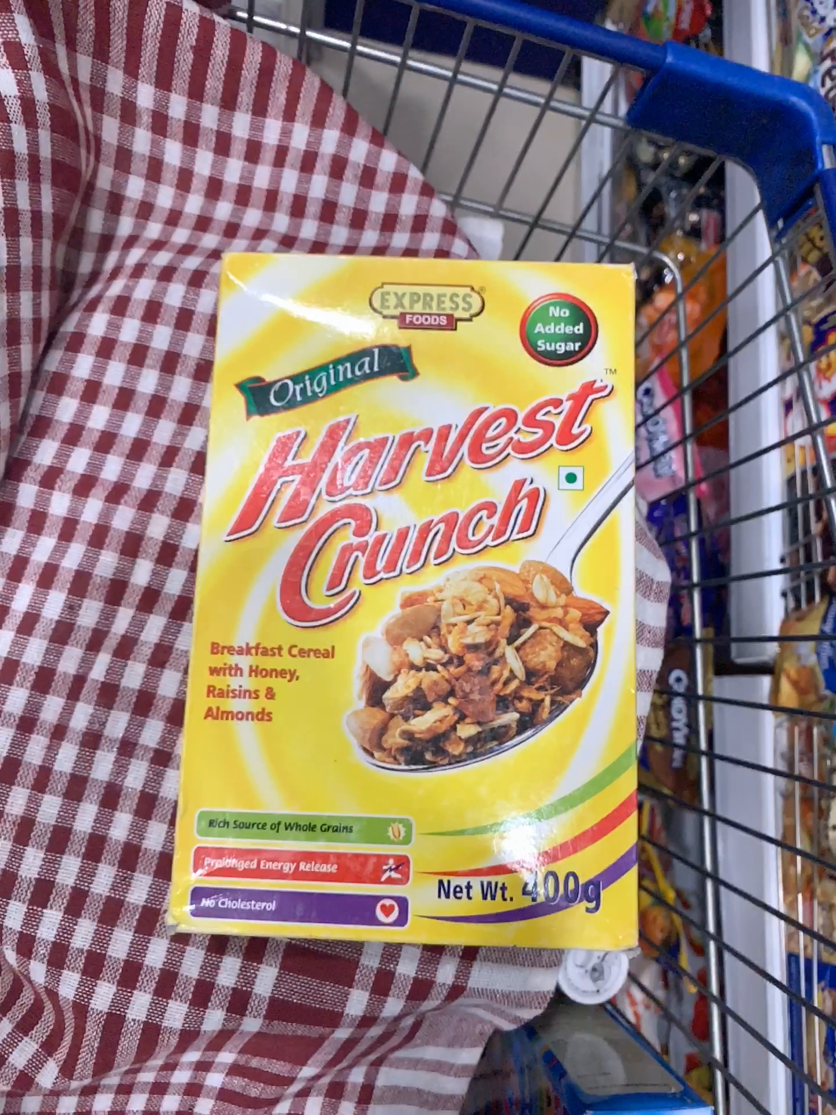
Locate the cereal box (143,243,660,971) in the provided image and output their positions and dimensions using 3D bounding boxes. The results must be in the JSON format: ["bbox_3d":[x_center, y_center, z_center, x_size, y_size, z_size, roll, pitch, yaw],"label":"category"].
[{"bbox_3d":[-0.001,0.011,0.294,0.150,0.050,0.220,2,82,2],"label":"cereal box"}]
